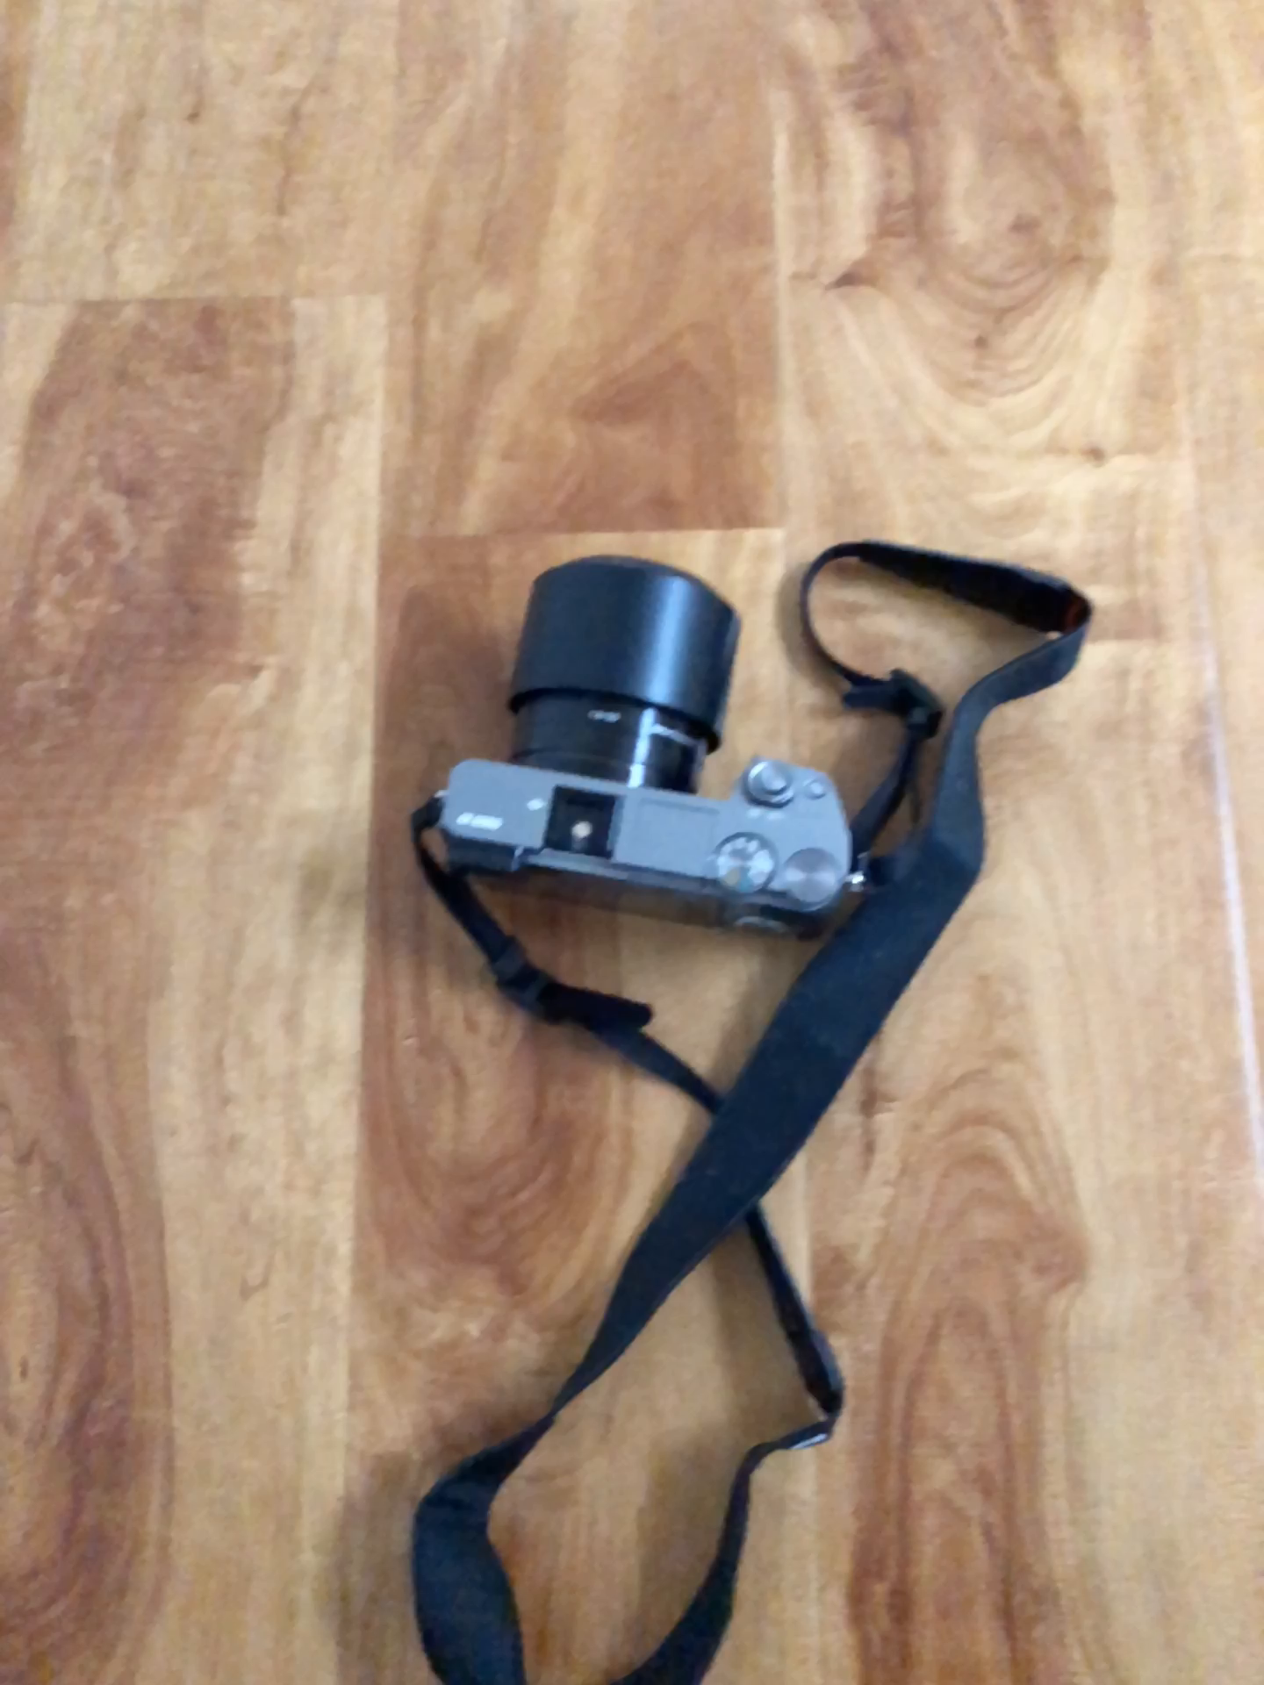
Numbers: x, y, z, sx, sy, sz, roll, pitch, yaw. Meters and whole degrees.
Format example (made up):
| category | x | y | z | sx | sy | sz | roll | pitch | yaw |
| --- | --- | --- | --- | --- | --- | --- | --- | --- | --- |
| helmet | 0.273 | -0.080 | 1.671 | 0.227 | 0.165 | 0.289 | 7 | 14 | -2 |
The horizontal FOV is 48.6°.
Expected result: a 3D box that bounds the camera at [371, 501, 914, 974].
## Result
| category | x | y | z | sx | sy | sz | roll | pitch | yaw |
| --- | --- | --- | --- | --- | --- | --- | --- | --- | --- |
| camera | 0.006 | -0.030 | 0.444 | 0.140 | 0.080 | 0.110 | 9 | 77 | 5 |
